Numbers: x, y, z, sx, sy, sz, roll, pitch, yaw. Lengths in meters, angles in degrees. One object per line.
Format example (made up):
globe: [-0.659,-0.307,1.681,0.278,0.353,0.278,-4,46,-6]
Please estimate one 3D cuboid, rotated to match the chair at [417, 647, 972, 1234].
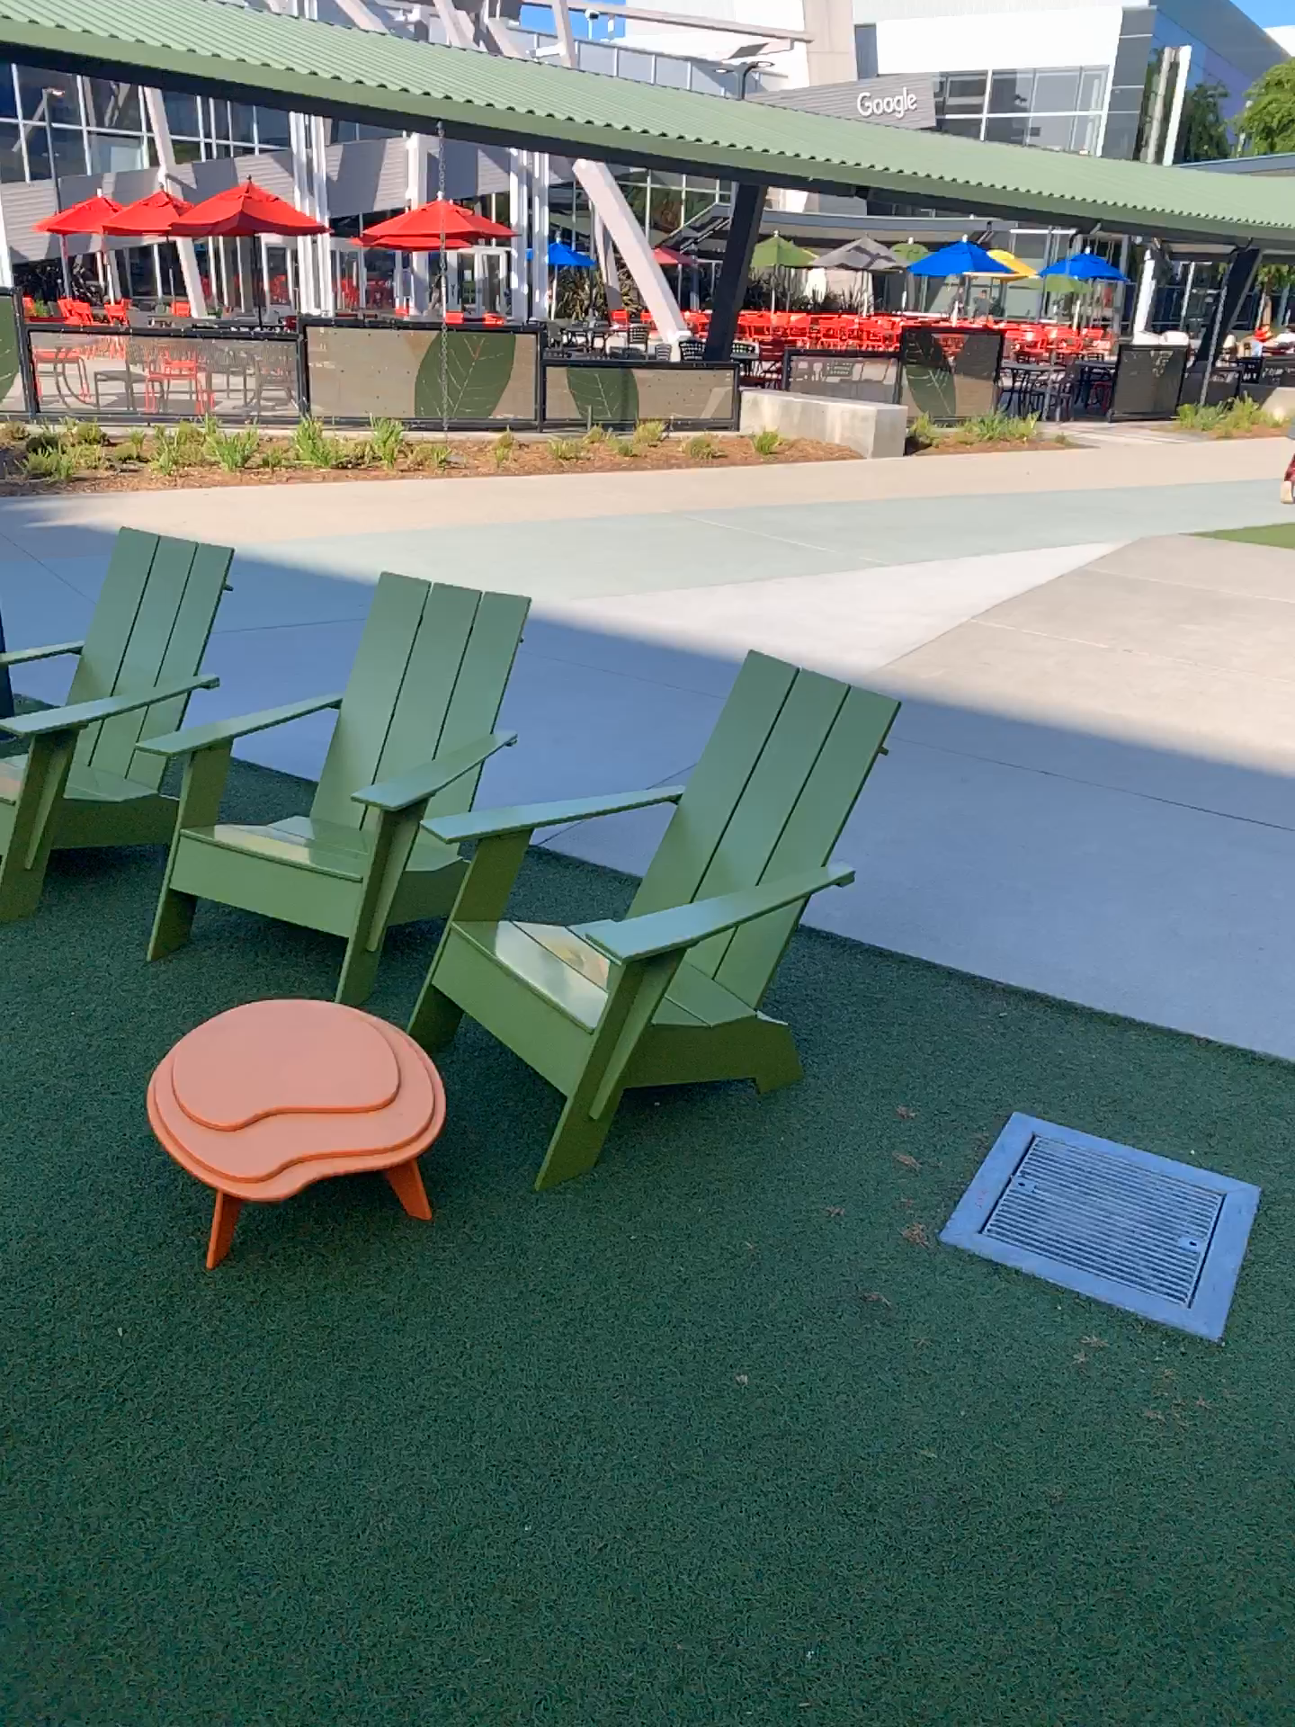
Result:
chair: [0.063,0.091,2.793,0.851,0.855,0.713,-12,27,-31]
